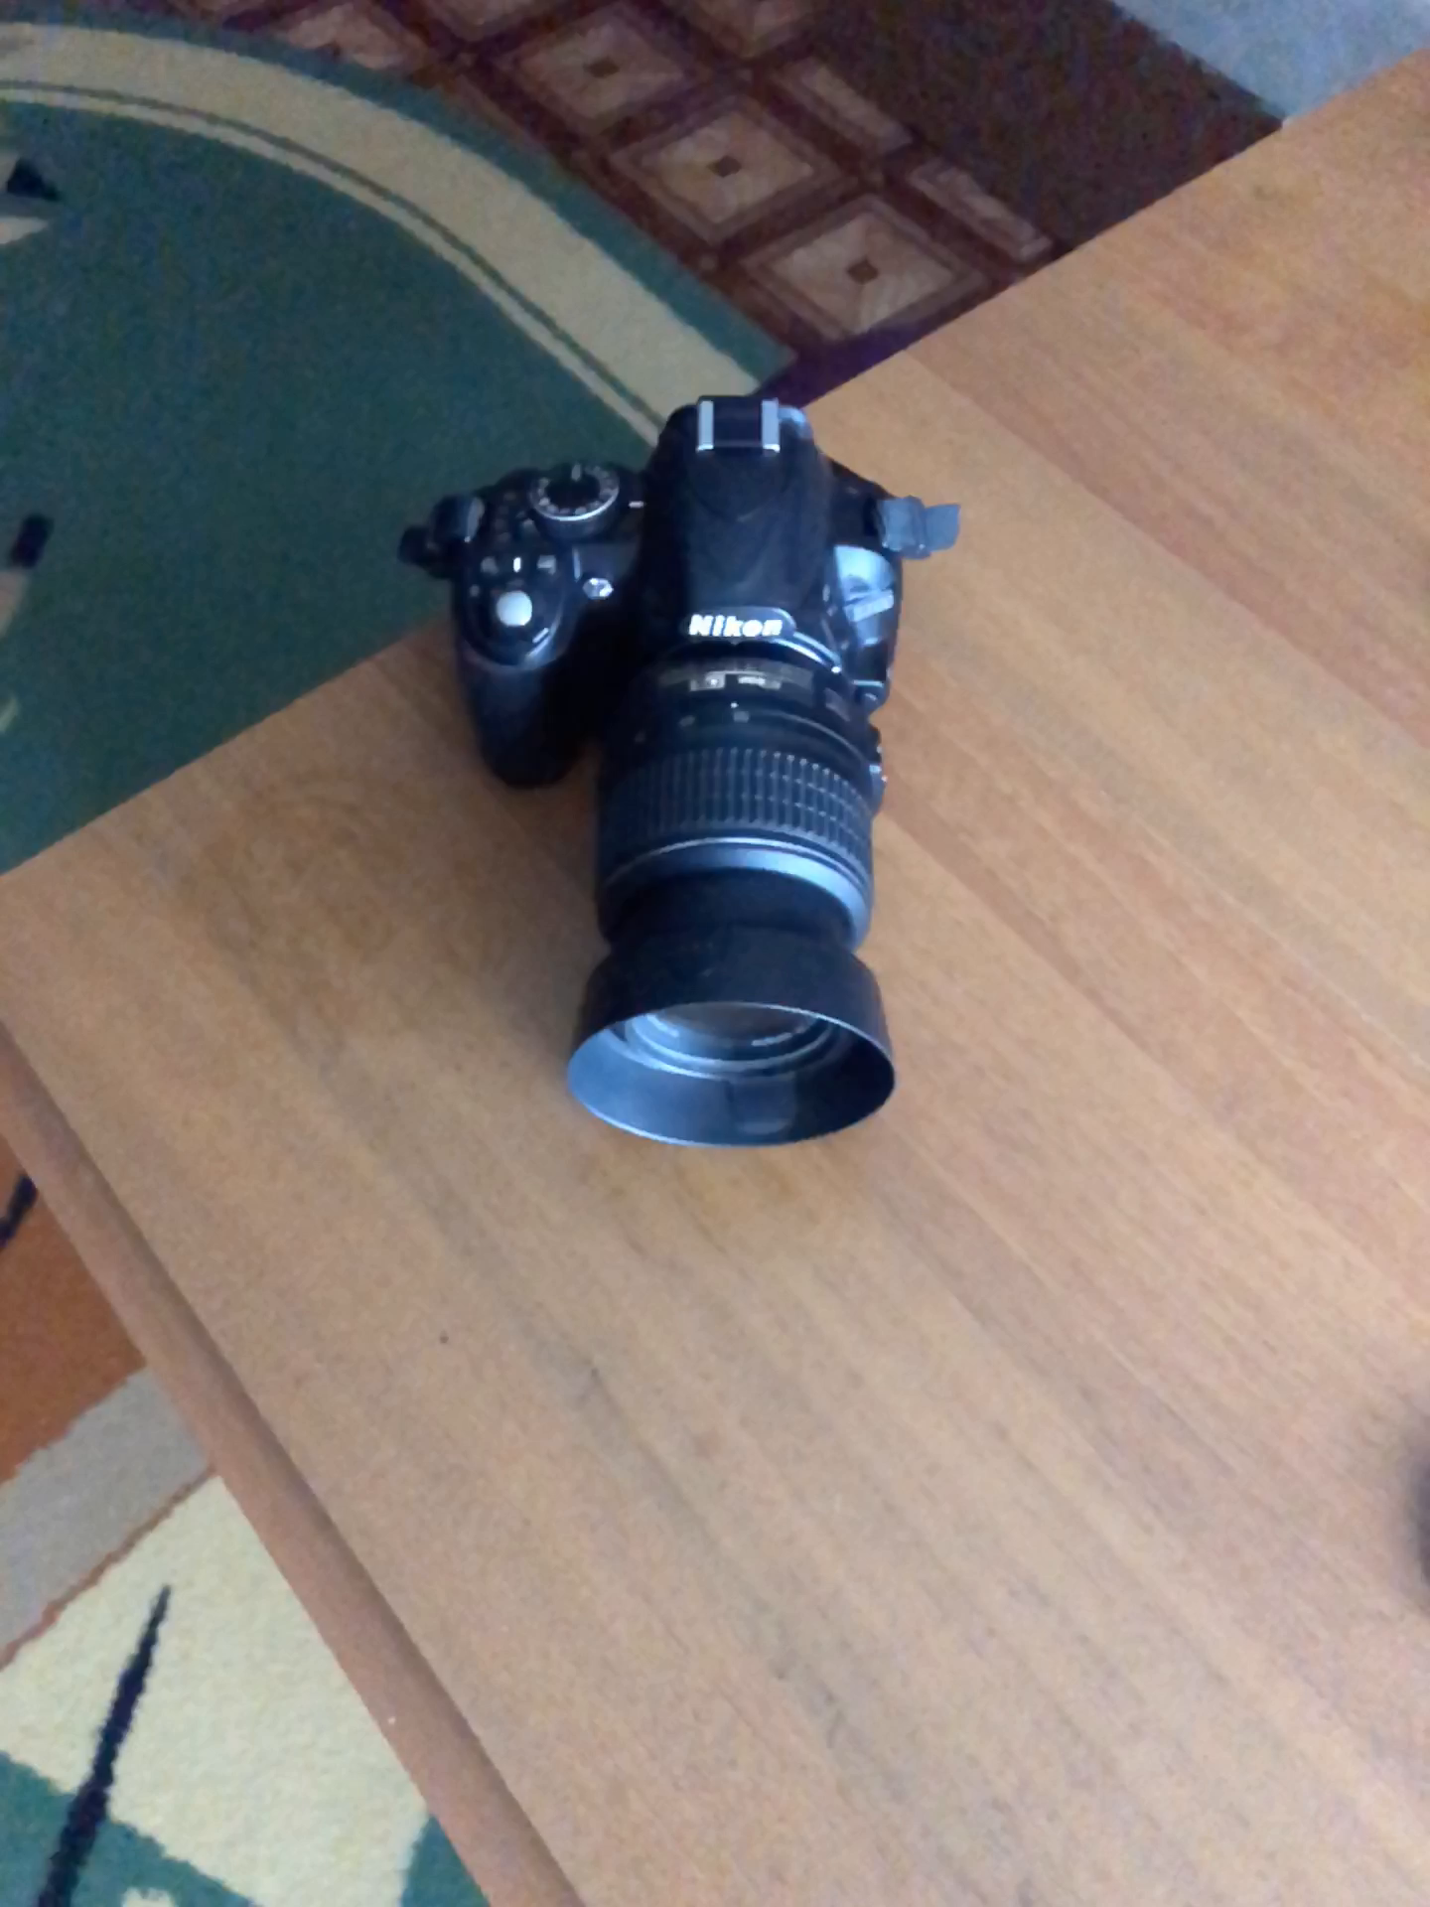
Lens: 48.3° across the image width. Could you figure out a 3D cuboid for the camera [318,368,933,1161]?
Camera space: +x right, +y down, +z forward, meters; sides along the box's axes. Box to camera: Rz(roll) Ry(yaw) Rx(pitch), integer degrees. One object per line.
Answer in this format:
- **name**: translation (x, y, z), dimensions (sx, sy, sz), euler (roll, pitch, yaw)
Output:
- **camera**: translation (-0.013, -0.052, 0.418), dimensions (0.129, 0.092, 0.183), euler (2, 60, 3)
